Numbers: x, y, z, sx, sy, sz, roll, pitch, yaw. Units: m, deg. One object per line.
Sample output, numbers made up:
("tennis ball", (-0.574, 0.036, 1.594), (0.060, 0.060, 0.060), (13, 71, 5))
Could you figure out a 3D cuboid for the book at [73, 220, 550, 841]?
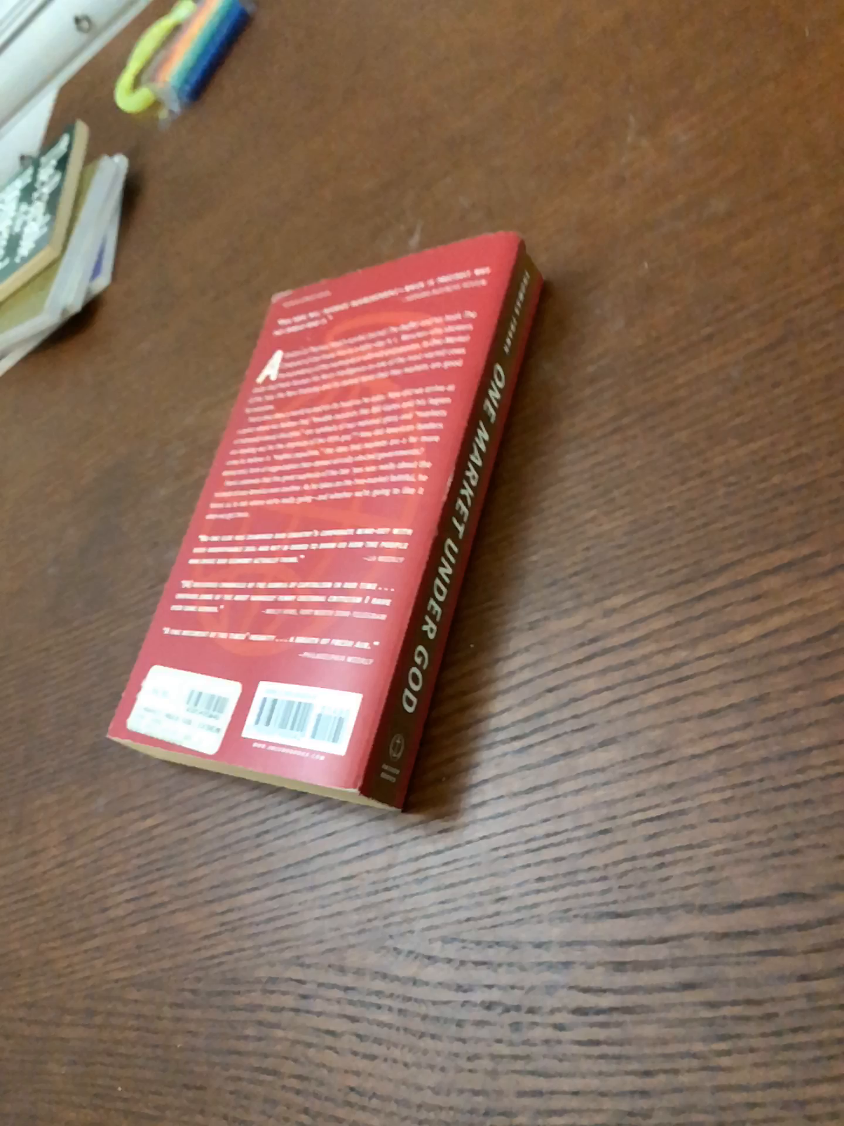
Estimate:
("book", (-0.042, -0.018, 0.351), (0.140, 0.030, 0.210), (-1, 65, 41))
